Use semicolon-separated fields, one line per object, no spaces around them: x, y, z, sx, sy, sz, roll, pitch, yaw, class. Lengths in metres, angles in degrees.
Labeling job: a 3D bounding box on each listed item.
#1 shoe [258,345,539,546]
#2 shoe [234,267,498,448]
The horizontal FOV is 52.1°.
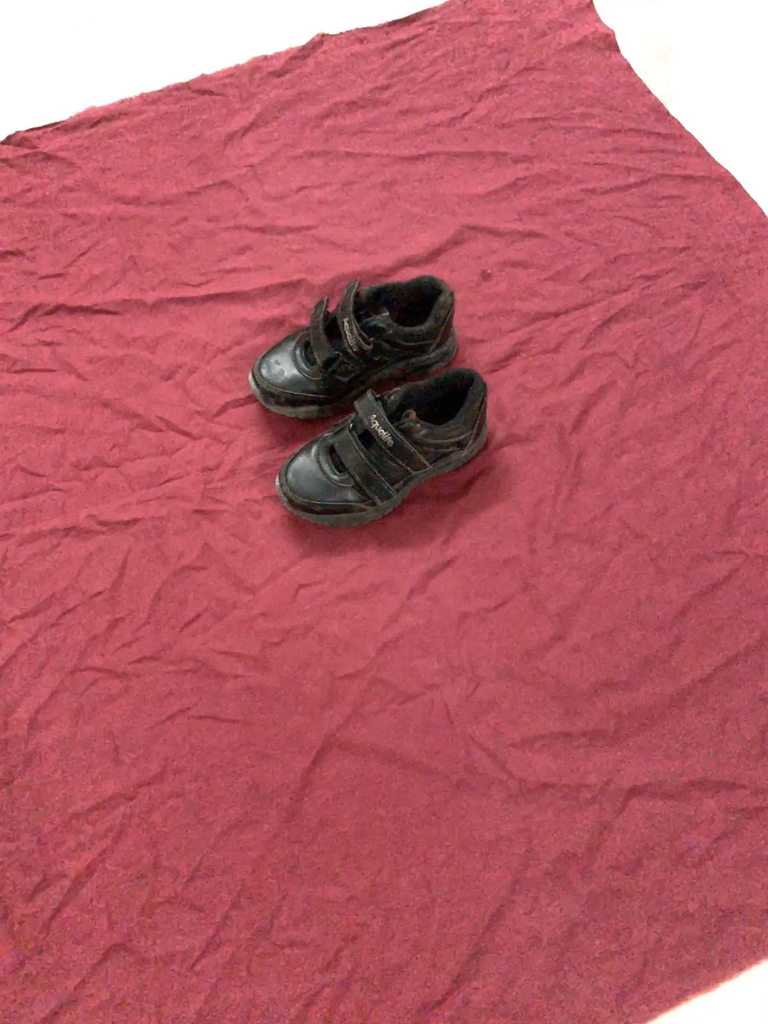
0.012;-0.054;0.650;0.210;0.070;0.070;-22;69;-7;shoe
-0.014;-0.135;0.692;0.210;0.070;0.070;-19;68;-6;shoe
